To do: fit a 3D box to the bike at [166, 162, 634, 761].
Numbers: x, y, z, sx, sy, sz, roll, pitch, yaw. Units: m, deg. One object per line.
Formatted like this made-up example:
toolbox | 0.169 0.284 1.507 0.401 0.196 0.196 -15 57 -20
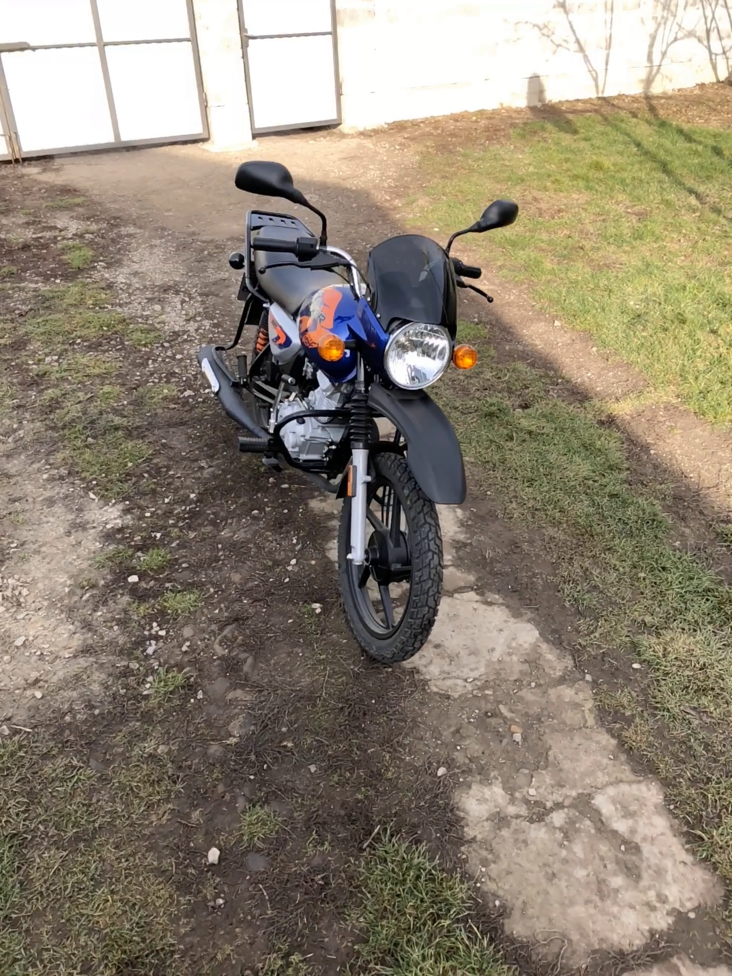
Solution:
bike | -0.063 -0.296 2.618 0.807 1.049 1.790 -11 34 -15
